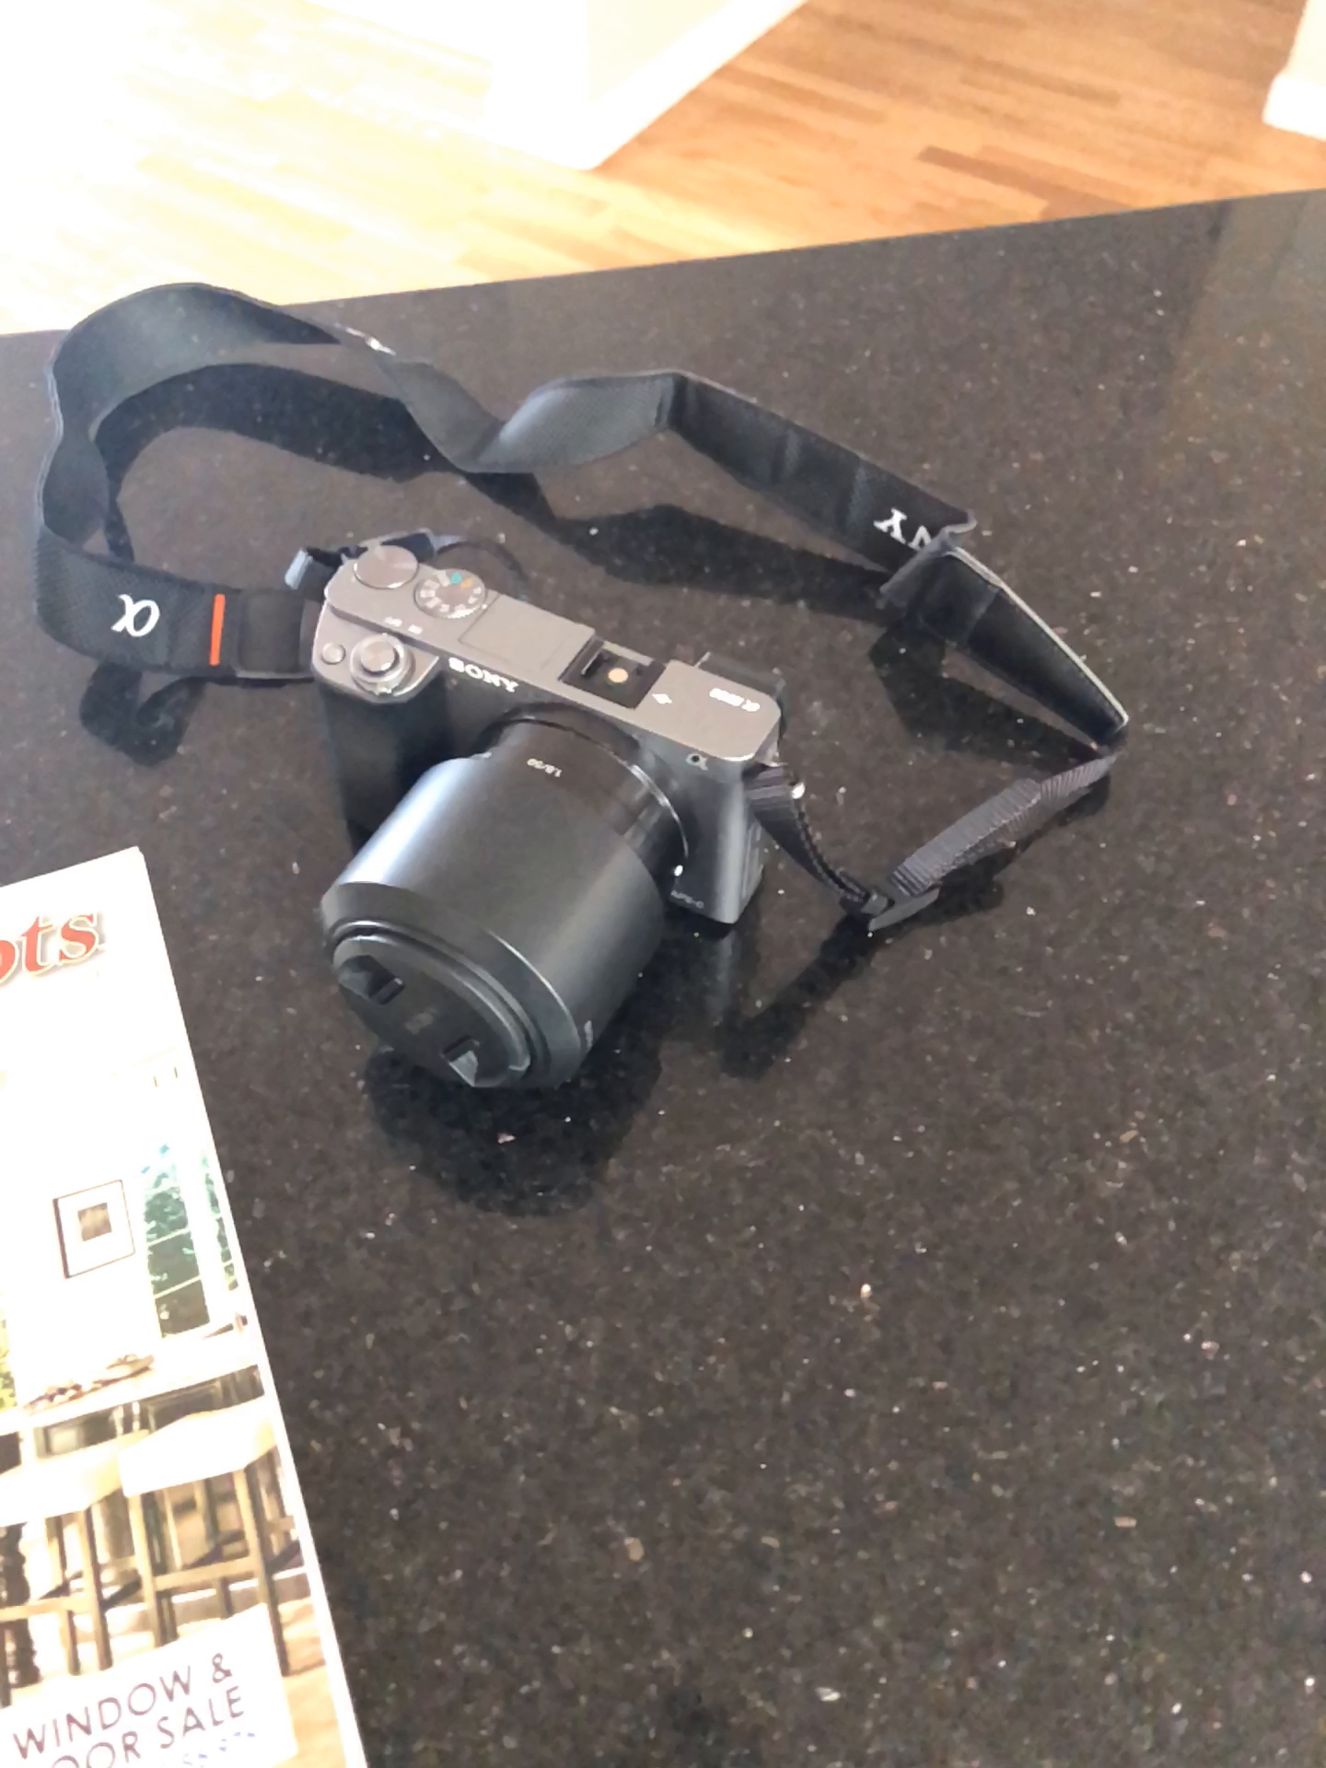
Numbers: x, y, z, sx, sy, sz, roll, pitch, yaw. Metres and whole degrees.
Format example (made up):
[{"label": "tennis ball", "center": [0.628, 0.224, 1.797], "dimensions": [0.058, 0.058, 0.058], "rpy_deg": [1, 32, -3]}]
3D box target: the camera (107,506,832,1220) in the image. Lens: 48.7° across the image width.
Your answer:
[{"label": "camera", "center": [-0.041, -0.006, 0.365], "dimensions": [0.127, 0.100, 0.100], "rpy_deg": [23, 56, 16]}]
